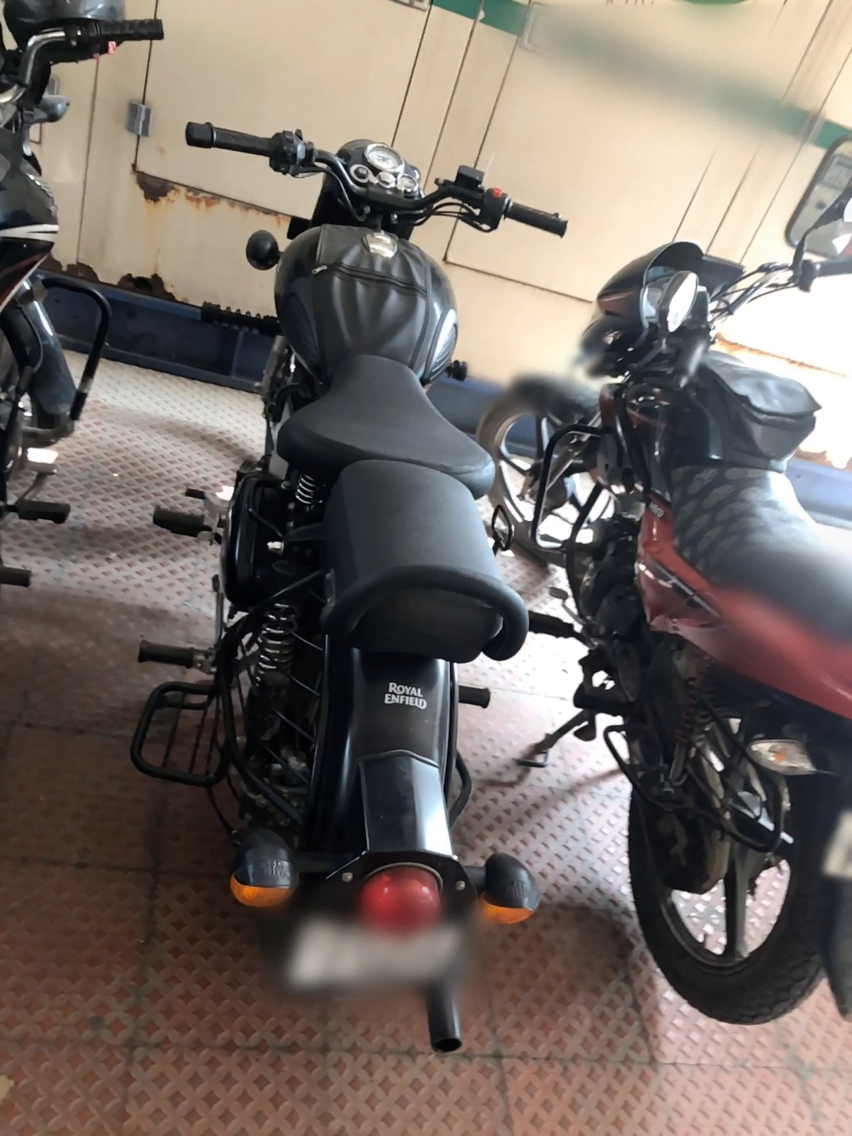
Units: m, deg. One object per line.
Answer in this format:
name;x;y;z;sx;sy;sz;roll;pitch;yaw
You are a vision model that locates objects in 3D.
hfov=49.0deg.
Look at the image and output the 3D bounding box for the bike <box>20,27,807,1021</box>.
bike;-0.227;-0.228;1.770;0.709;0.919;1.695;9;37;-19
